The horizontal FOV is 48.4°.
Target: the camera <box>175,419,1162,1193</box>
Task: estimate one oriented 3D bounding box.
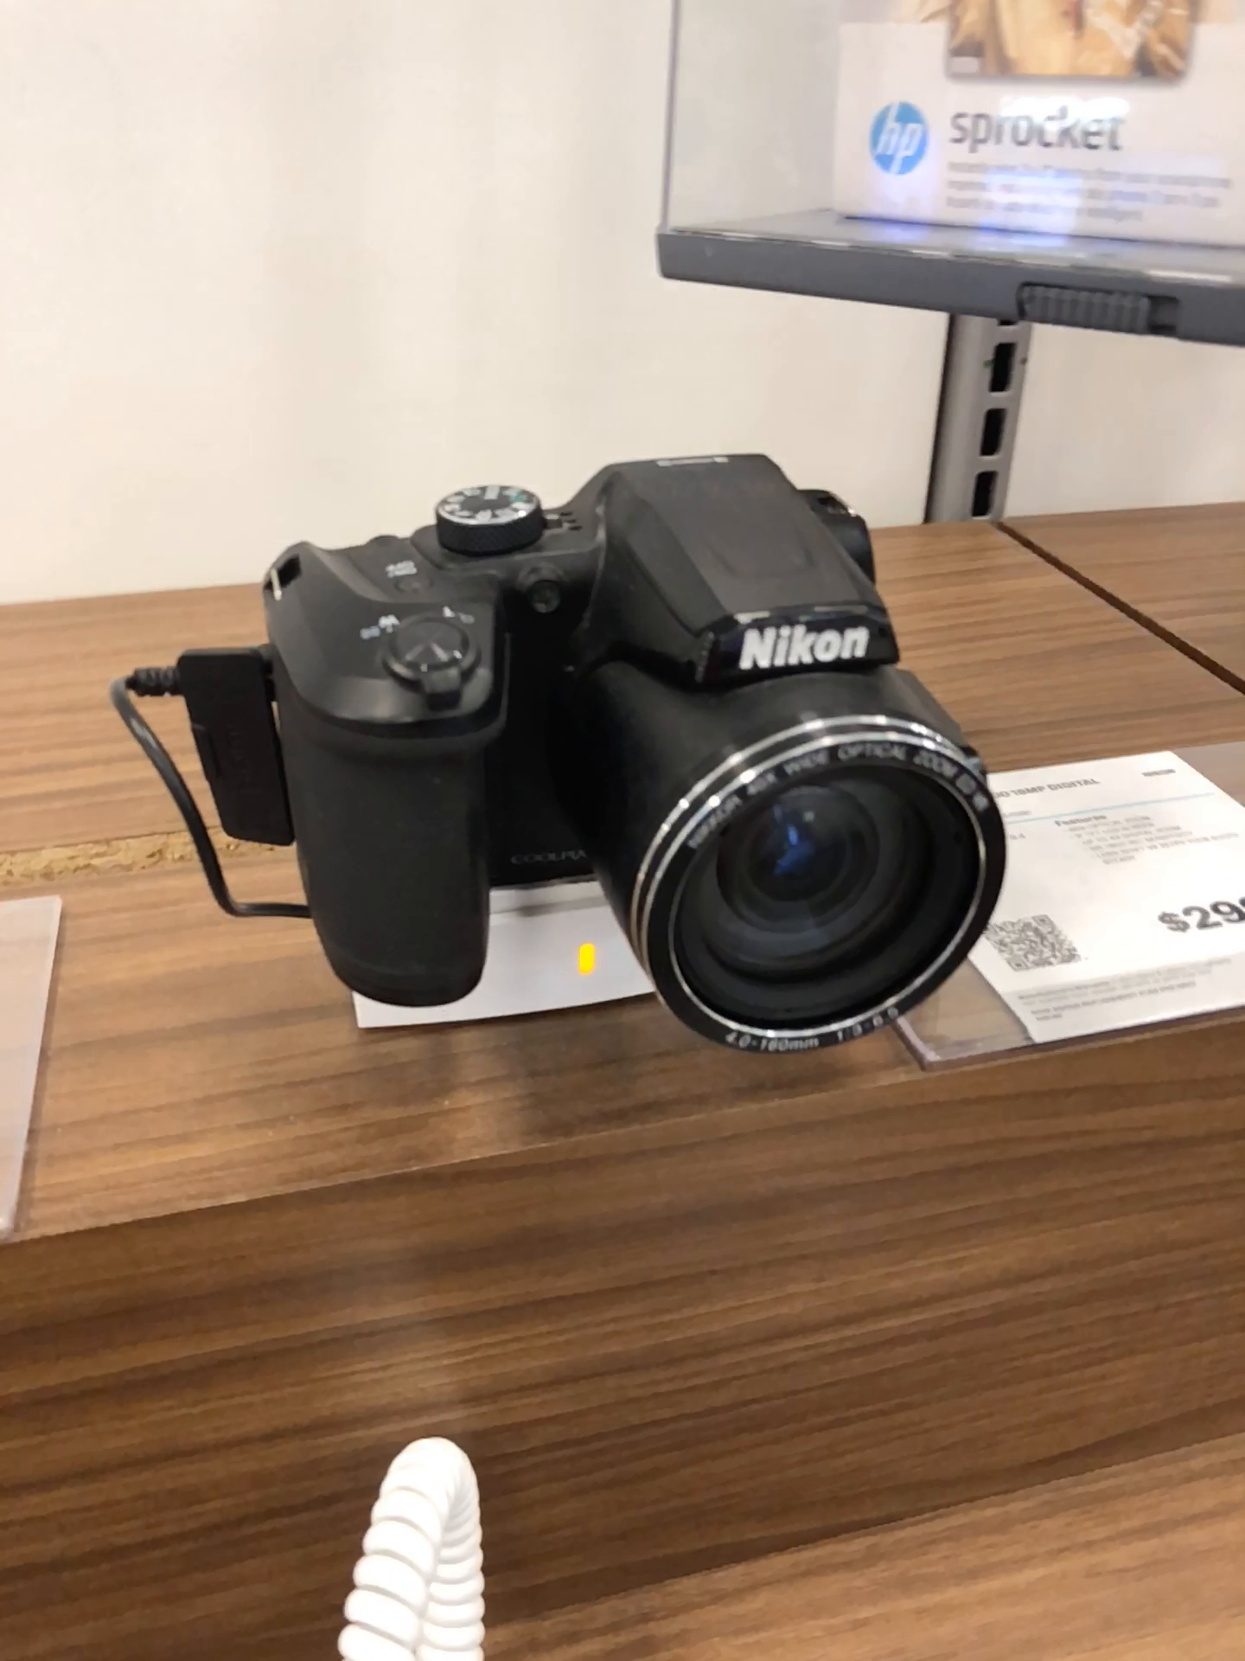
[{"bbox_3d":[-0.006,-0.019,0.247,0.130,0.070,0.130,-8,30,-14],"label":"camera"}]
